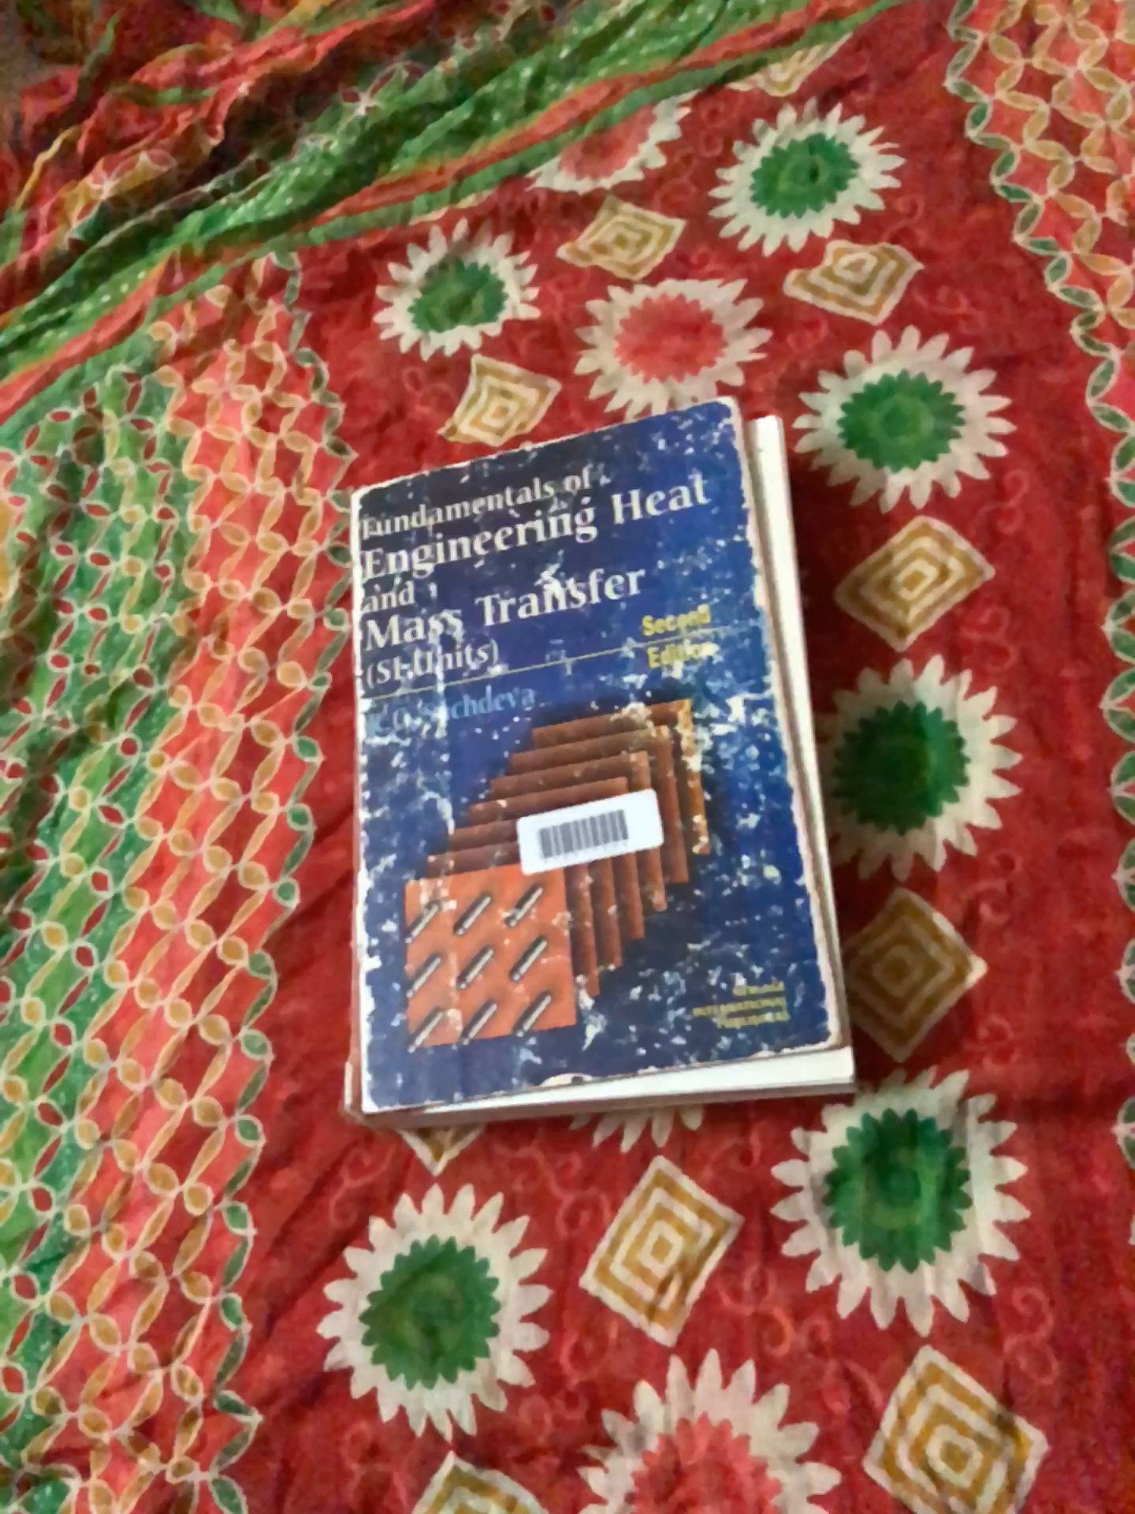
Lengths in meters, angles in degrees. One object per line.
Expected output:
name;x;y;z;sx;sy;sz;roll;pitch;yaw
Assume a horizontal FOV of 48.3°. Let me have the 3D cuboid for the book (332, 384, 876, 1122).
book;0.003;-0.001;0.400;0.150;0.043;0.209;-10;69;15
